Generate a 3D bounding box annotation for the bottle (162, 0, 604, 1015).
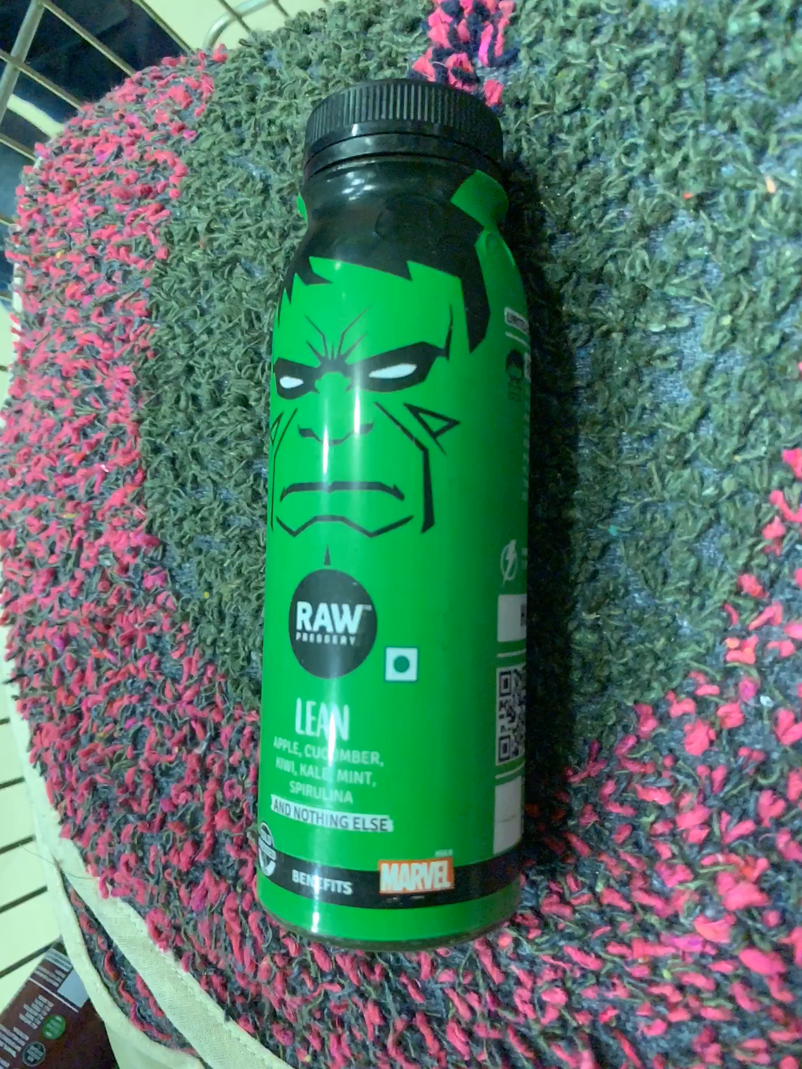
[{"bbox_3d":[-0.001,-0.010,0.160,0.060,0.050,0.160,-1,84,33],"label":"bottle"}]
